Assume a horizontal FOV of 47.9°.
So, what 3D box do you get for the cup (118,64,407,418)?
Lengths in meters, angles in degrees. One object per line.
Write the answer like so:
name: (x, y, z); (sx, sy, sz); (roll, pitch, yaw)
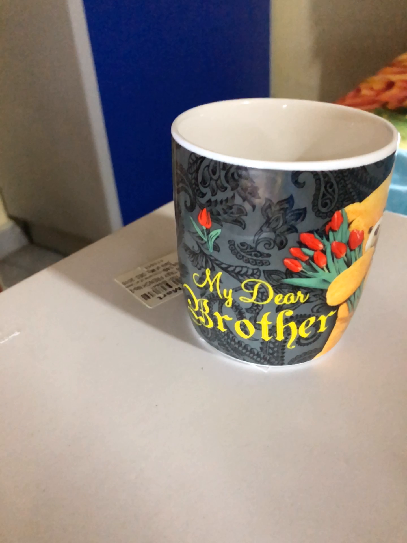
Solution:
cup: (0.045, -0.029, 0.208); (0.080, 0.099, 0.131); (22, 40, 35)
